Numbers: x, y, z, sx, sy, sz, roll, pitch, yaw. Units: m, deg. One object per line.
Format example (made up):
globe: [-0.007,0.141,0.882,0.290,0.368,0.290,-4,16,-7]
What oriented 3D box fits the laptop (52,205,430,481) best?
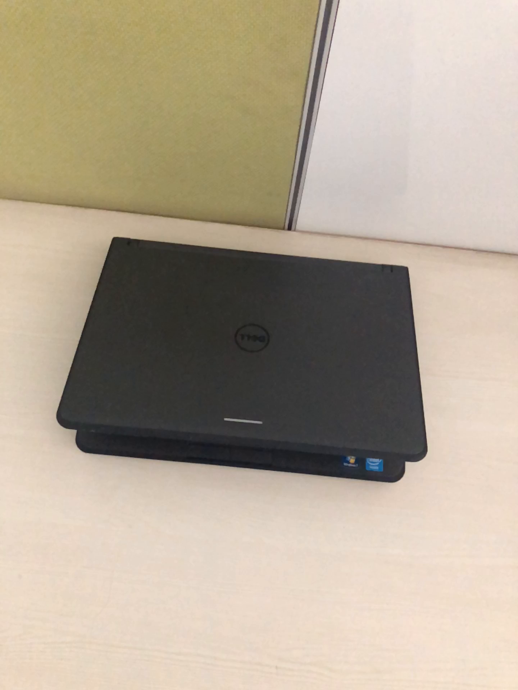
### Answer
laptop: [-0.007,-0.004,0.561,0.322,0.073,0.229,6,69,0]
